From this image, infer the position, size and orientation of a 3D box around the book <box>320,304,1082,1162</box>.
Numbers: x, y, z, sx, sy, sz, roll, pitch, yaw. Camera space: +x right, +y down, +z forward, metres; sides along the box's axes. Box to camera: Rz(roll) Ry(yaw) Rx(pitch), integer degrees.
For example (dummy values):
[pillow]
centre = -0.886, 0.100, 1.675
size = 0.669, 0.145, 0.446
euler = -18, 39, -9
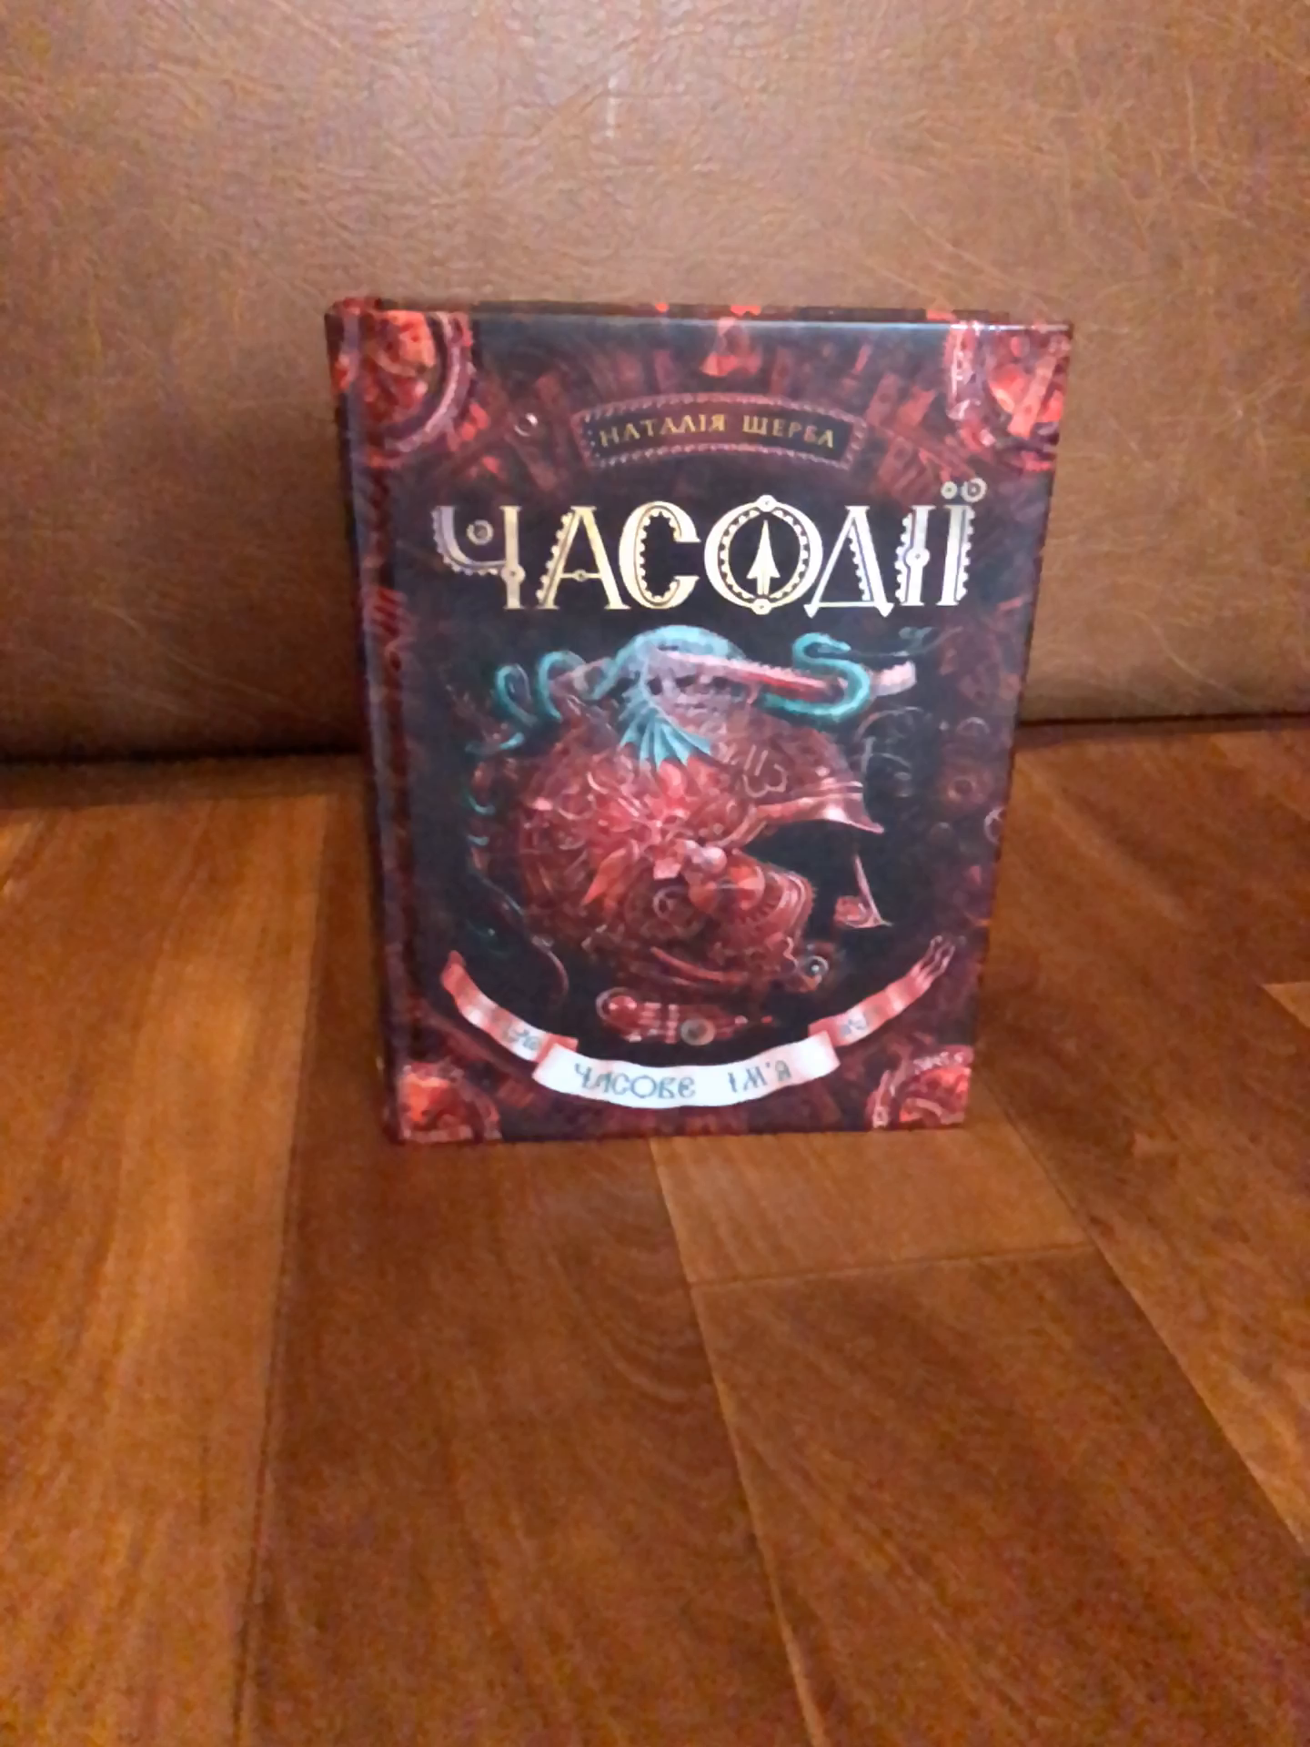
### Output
[book]
centre = 0.007, -0.030, 0.382
size = 0.170, 0.220, 0.040
euler = -1, 25, -6
